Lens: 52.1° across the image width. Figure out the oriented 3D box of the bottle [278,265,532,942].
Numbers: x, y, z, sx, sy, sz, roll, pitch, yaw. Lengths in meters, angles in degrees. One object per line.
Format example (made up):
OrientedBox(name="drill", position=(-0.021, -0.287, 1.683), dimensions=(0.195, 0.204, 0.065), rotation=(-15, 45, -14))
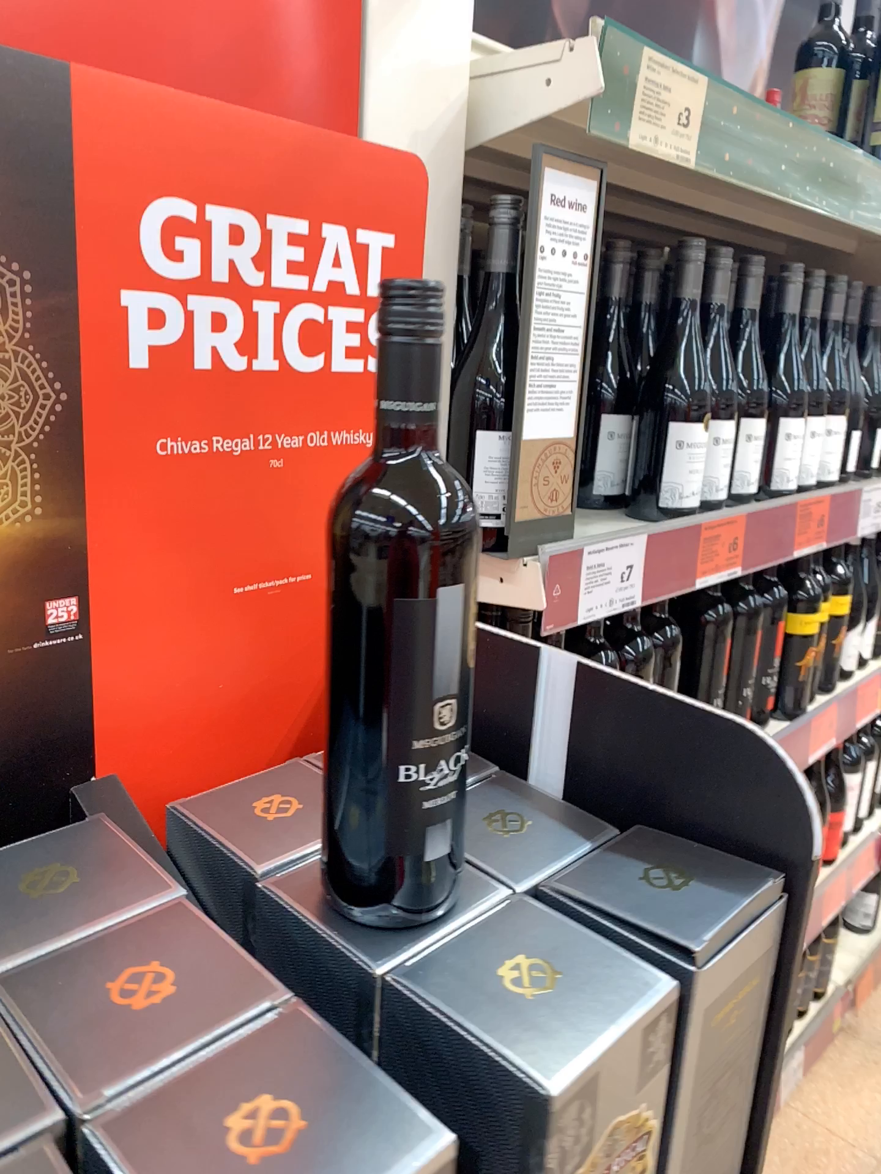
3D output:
OrientedBox(name="bottle", position=(-0.024, 0.006, 0.420), dimensions=(0.070, 0.288, 0.080), rotation=(-5, 17, -33))
